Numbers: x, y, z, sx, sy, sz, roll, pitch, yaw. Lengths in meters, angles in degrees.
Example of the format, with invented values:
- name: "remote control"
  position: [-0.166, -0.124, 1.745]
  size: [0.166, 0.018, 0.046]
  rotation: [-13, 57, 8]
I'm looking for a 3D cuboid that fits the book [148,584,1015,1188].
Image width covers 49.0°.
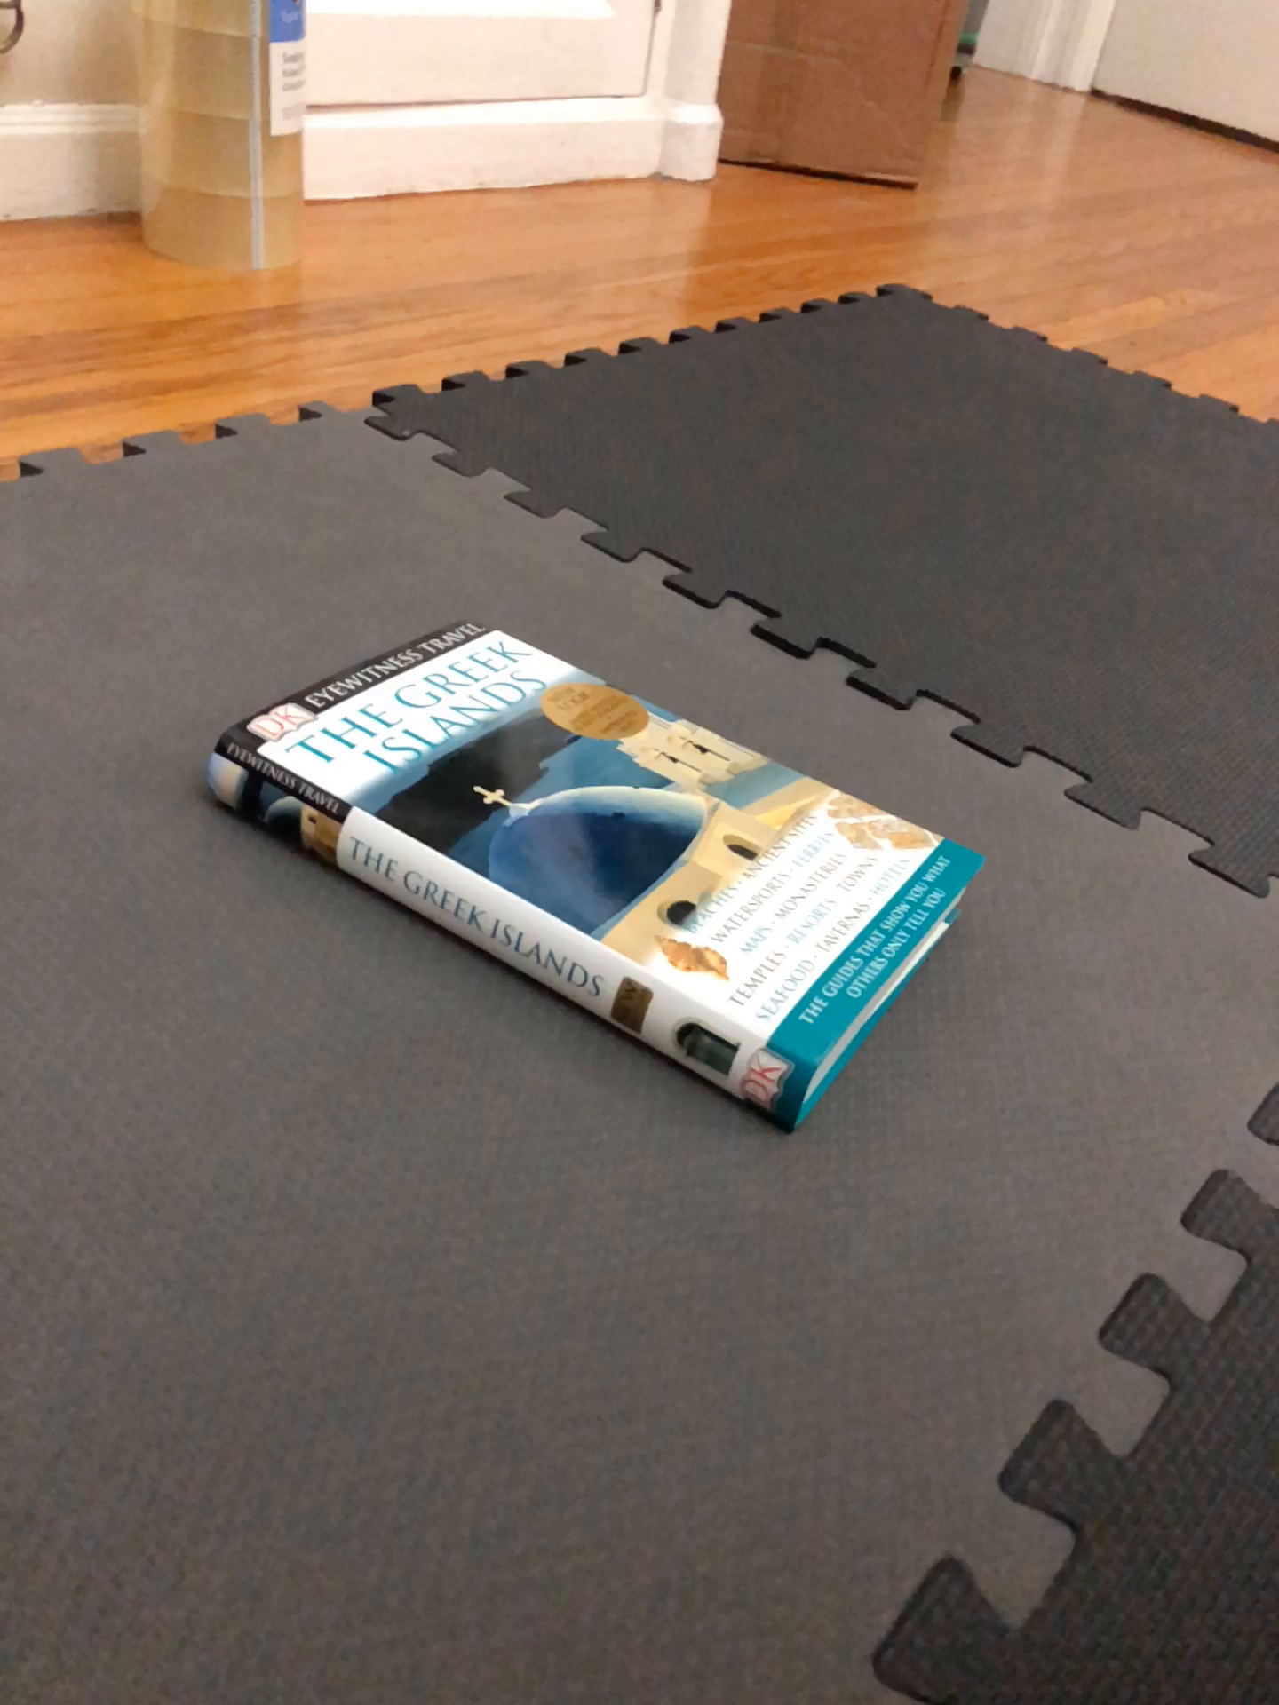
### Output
- name: "book"
  position: [-0.017, -0.009, 0.472]
  size: [0.240, 0.030, 0.161]
  rotation: [28, 40, 21]
